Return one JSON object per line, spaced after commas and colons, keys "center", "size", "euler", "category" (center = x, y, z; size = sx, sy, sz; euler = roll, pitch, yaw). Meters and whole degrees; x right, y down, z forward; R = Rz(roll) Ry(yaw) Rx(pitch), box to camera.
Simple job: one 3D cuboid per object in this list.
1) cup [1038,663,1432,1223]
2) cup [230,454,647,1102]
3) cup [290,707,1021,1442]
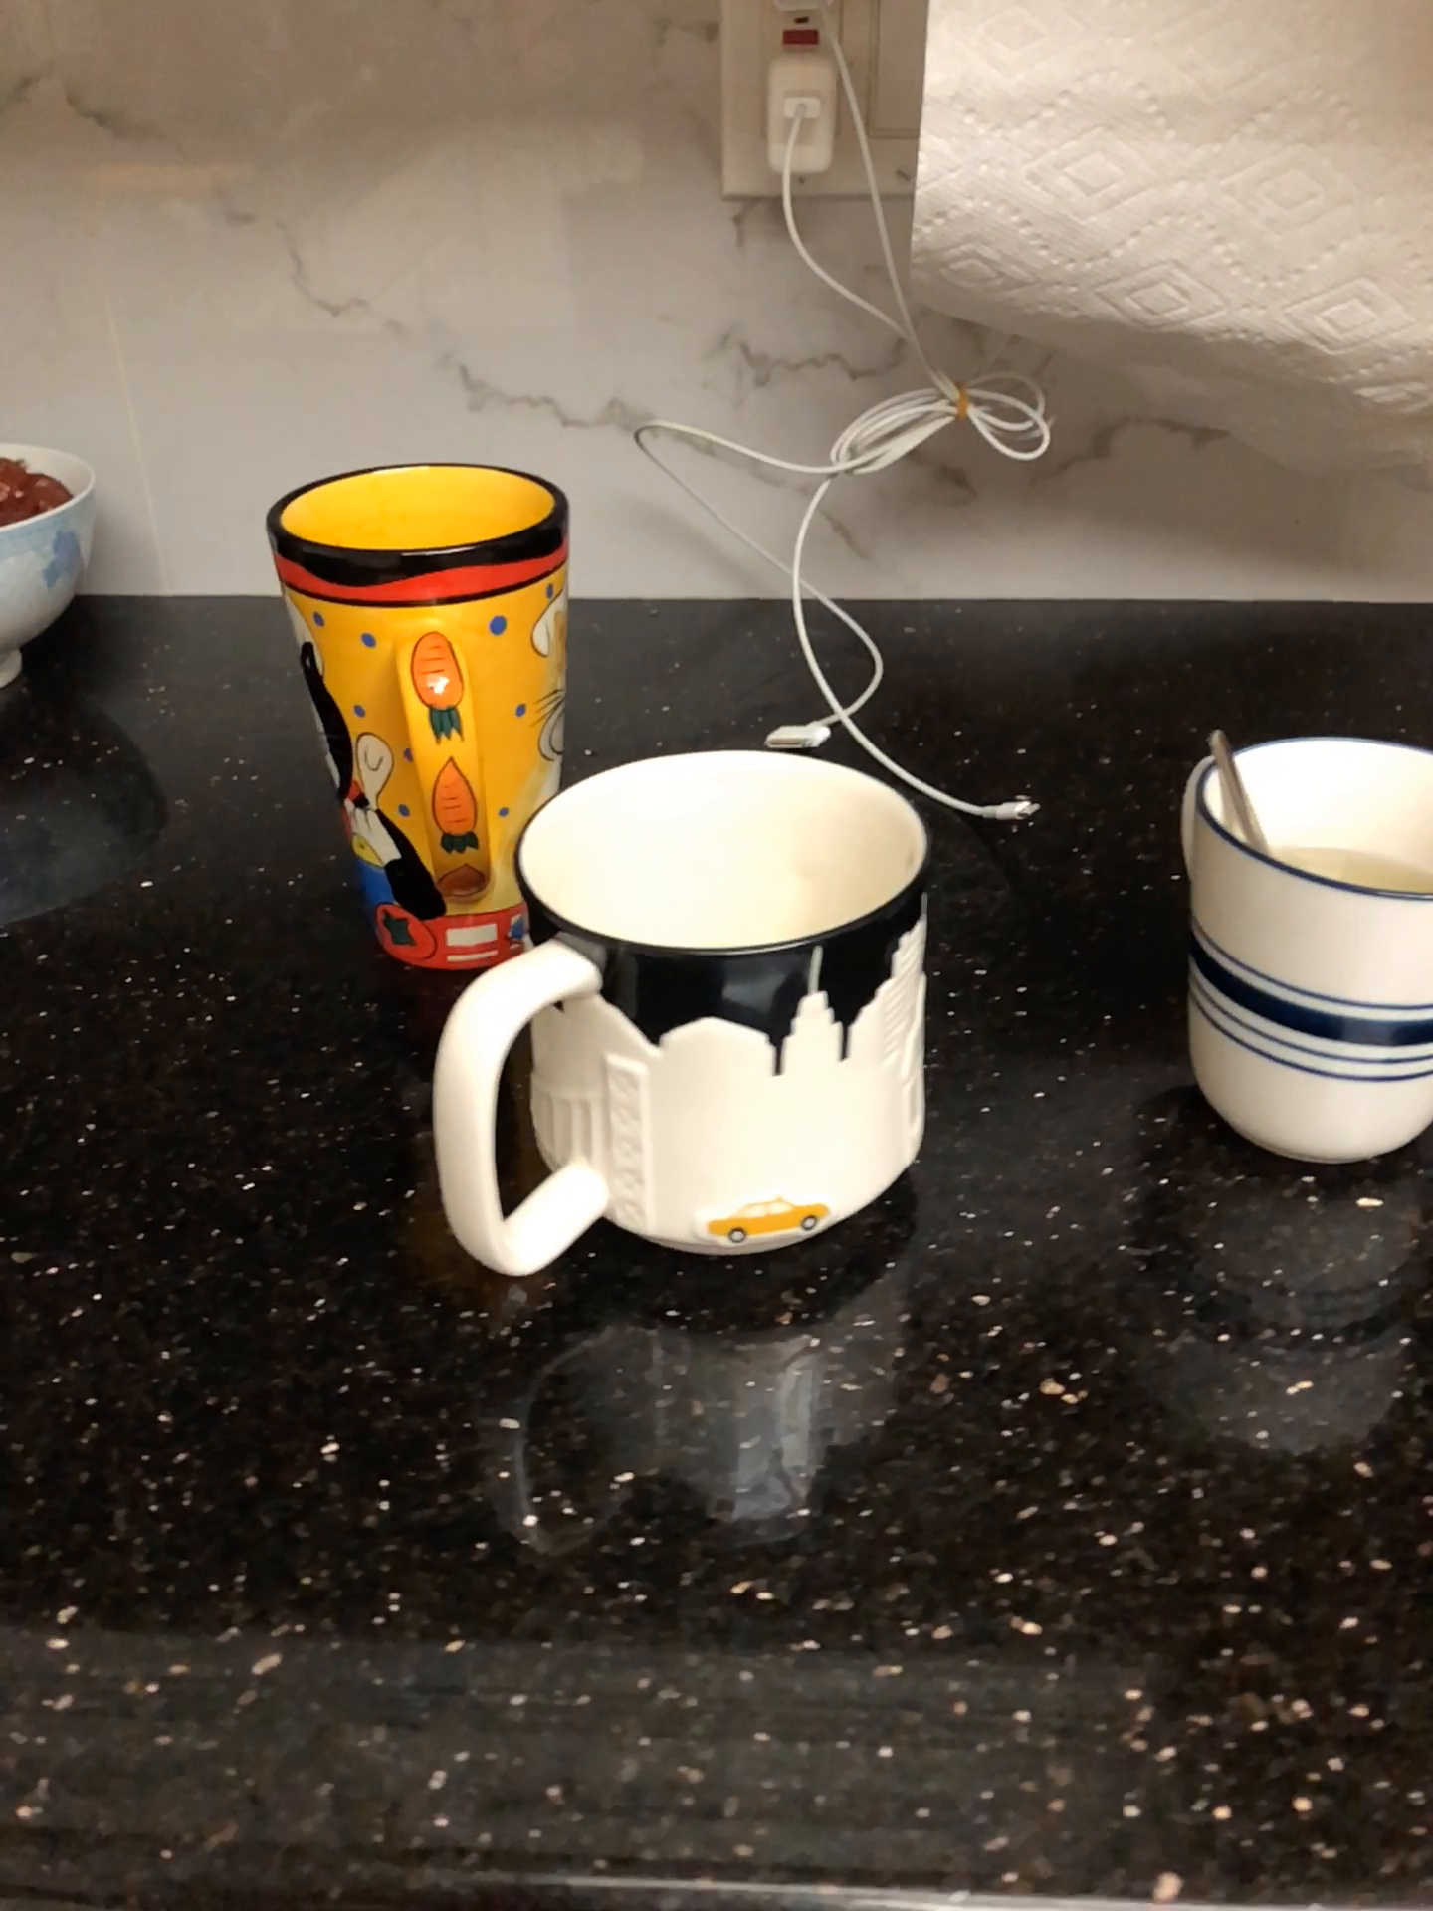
{"center": [0.165, -0.008, 0.451], "size": [0.100, 0.109, 0.090], "euler": [-15, 35, -22], "category": "cup"}
{"center": [-0.087, -0.061, 0.495], "size": [0.090, 0.149, 0.131], "euler": [-11, 34, -17], "category": "cup"}
{"center": [-0.012, 0.021, 0.416], "size": [0.150, 0.109, 0.100], "euler": [-26, 40, -34], "category": "cup"}
